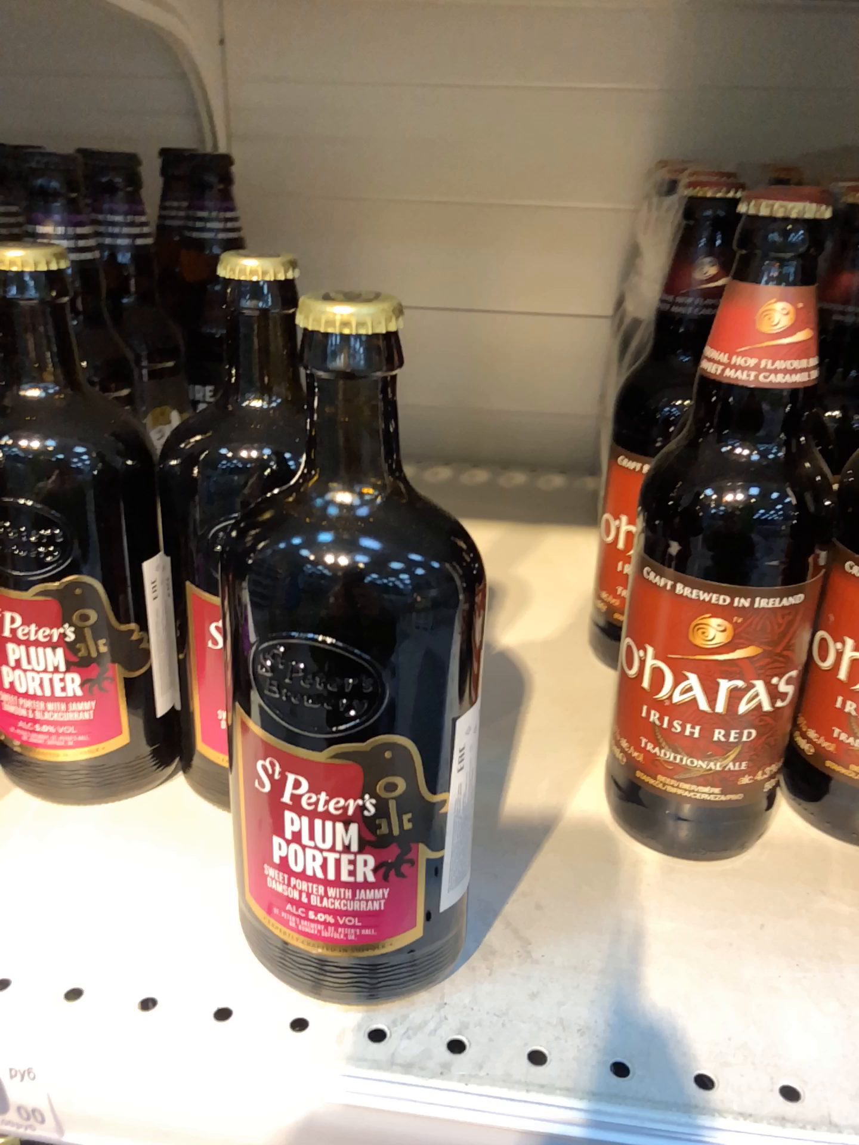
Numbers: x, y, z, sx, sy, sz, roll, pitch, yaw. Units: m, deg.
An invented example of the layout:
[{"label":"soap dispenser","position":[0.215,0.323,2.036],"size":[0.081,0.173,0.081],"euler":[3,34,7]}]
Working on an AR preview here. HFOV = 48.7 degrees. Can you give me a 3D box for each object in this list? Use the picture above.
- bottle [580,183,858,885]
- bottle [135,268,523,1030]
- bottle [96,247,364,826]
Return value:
[{"label":"bottle","position":[0.106,-0.012,0.337],"size":[0.071,0.231,0.070],"euler":[1,23,-1]},{"label":"bottle","position":[-0.024,0.025,0.277],"size":[0.082,0.209,0.059],"euler":[6,24,10]},{"label":"bottle","position":[-0.067,-0.011,0.371],"size":[0.079,0.213,0.070],"euler":[1,23,0]}]
